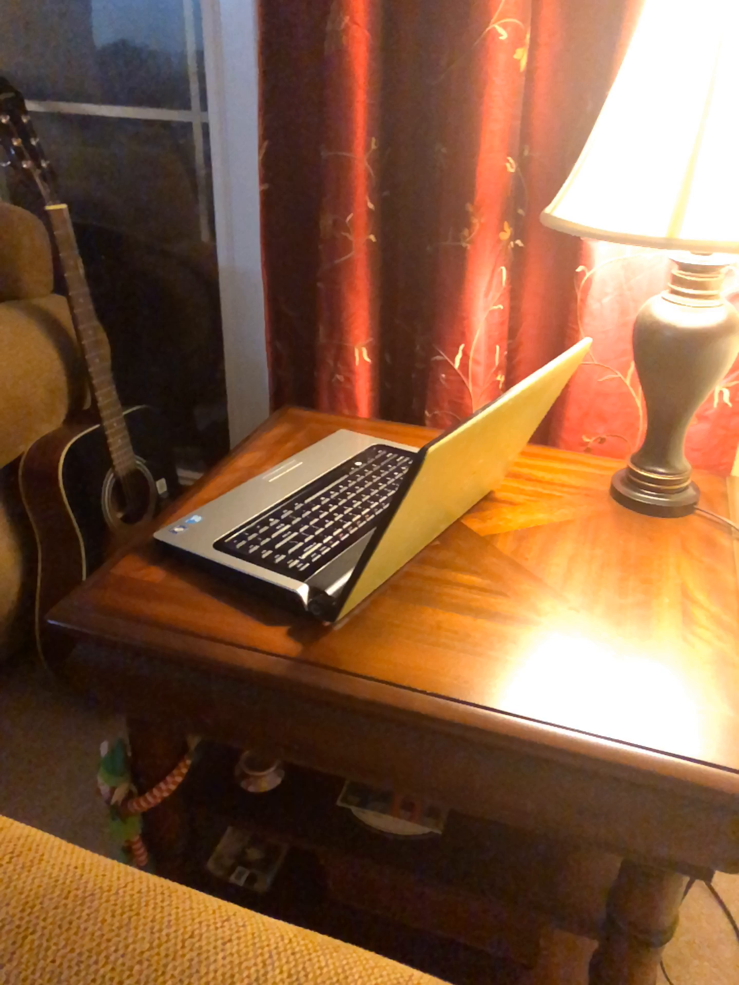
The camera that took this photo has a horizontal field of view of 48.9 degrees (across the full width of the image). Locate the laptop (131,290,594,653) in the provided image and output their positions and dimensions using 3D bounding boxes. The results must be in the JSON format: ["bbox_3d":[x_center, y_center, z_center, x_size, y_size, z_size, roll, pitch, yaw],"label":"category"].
[{"bbox_3d":[0.004,-0.061,0.922,0.351,0.204,0.363,19,33,29],"label":"laptop"}]
